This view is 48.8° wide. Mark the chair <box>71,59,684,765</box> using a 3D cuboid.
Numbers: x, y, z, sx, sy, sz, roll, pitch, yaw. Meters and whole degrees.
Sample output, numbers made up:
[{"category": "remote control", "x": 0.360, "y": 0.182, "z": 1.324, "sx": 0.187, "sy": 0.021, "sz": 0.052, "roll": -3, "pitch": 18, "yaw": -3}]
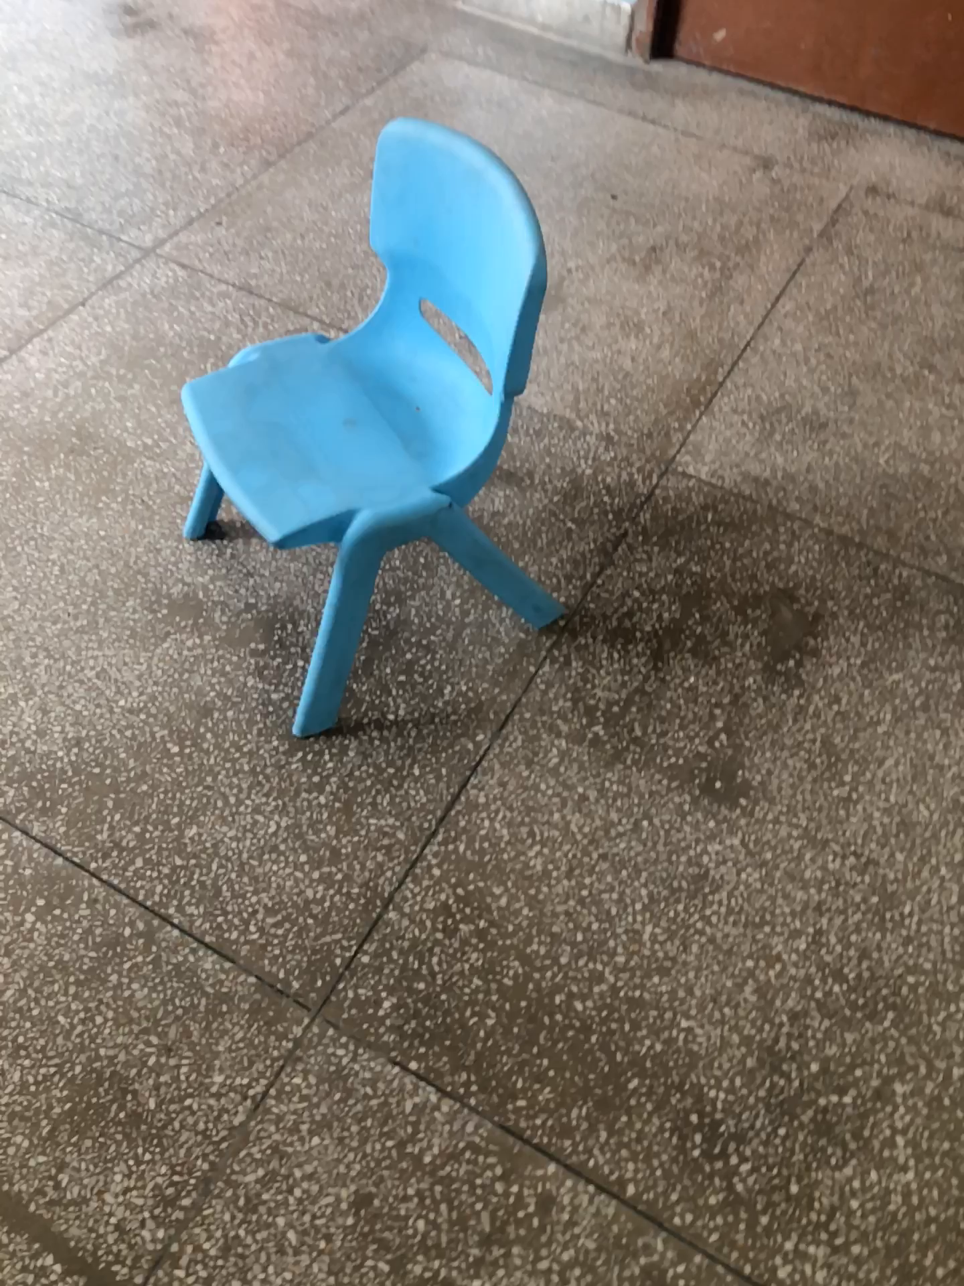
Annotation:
[{"category": "chair", "x": -0.110, "y": -0.228, "z": 1.098, "sx": 0.390, "sy": 0.499, "sz": 0.381, "roll": -23, "pitch": 57, "yaw": -20}]
